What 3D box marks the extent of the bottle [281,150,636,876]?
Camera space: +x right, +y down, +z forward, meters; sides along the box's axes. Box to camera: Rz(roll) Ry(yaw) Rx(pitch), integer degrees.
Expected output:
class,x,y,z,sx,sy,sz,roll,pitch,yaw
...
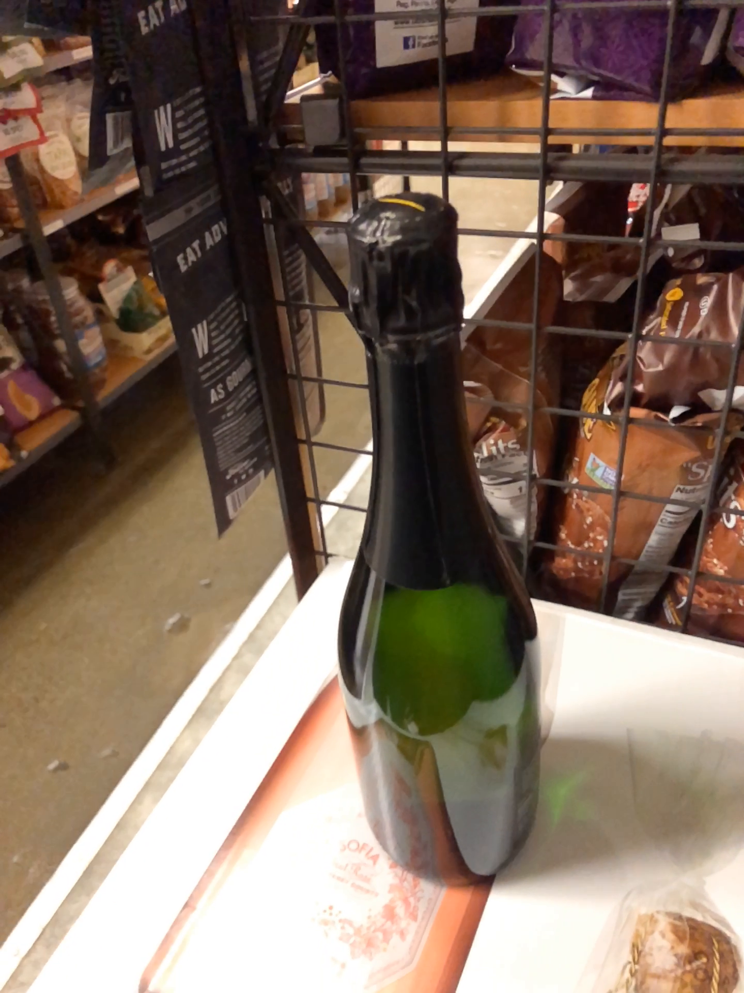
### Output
class,x,y,z,sx,sy,sz,roll,pitch,yaw
bottle,0.037,0.027,0.330,0.090,0.289,0.090,-3,36,3
